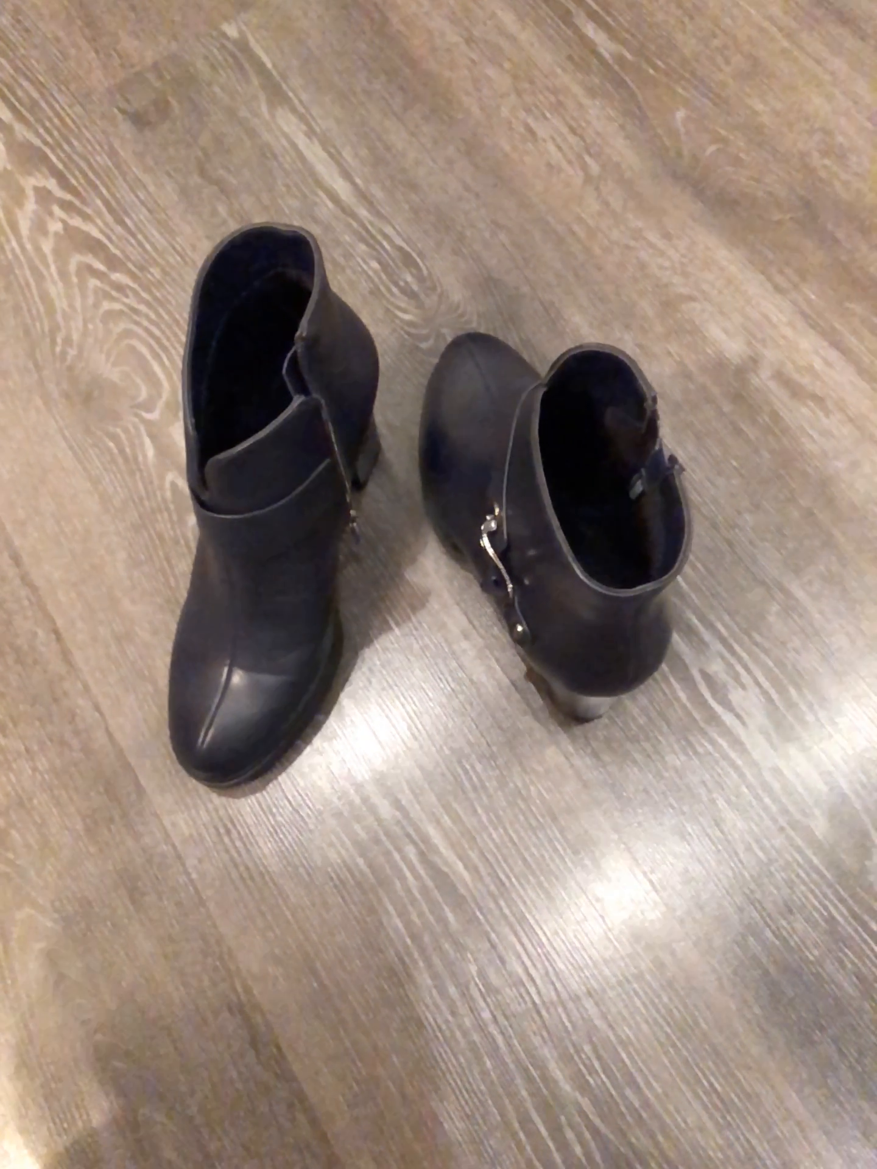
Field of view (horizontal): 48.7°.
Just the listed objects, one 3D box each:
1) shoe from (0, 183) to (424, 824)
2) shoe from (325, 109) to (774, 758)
[{"bbox_3d":[-0.089,-0.018,0.428,0.090,0.190,0.210,15,73,9],"label":"shoe"},{"bbox_3d":[0.039,-0.050,0.438,0.090,0.190,0.210,-19,71,-2],"label":"shoe"}]
